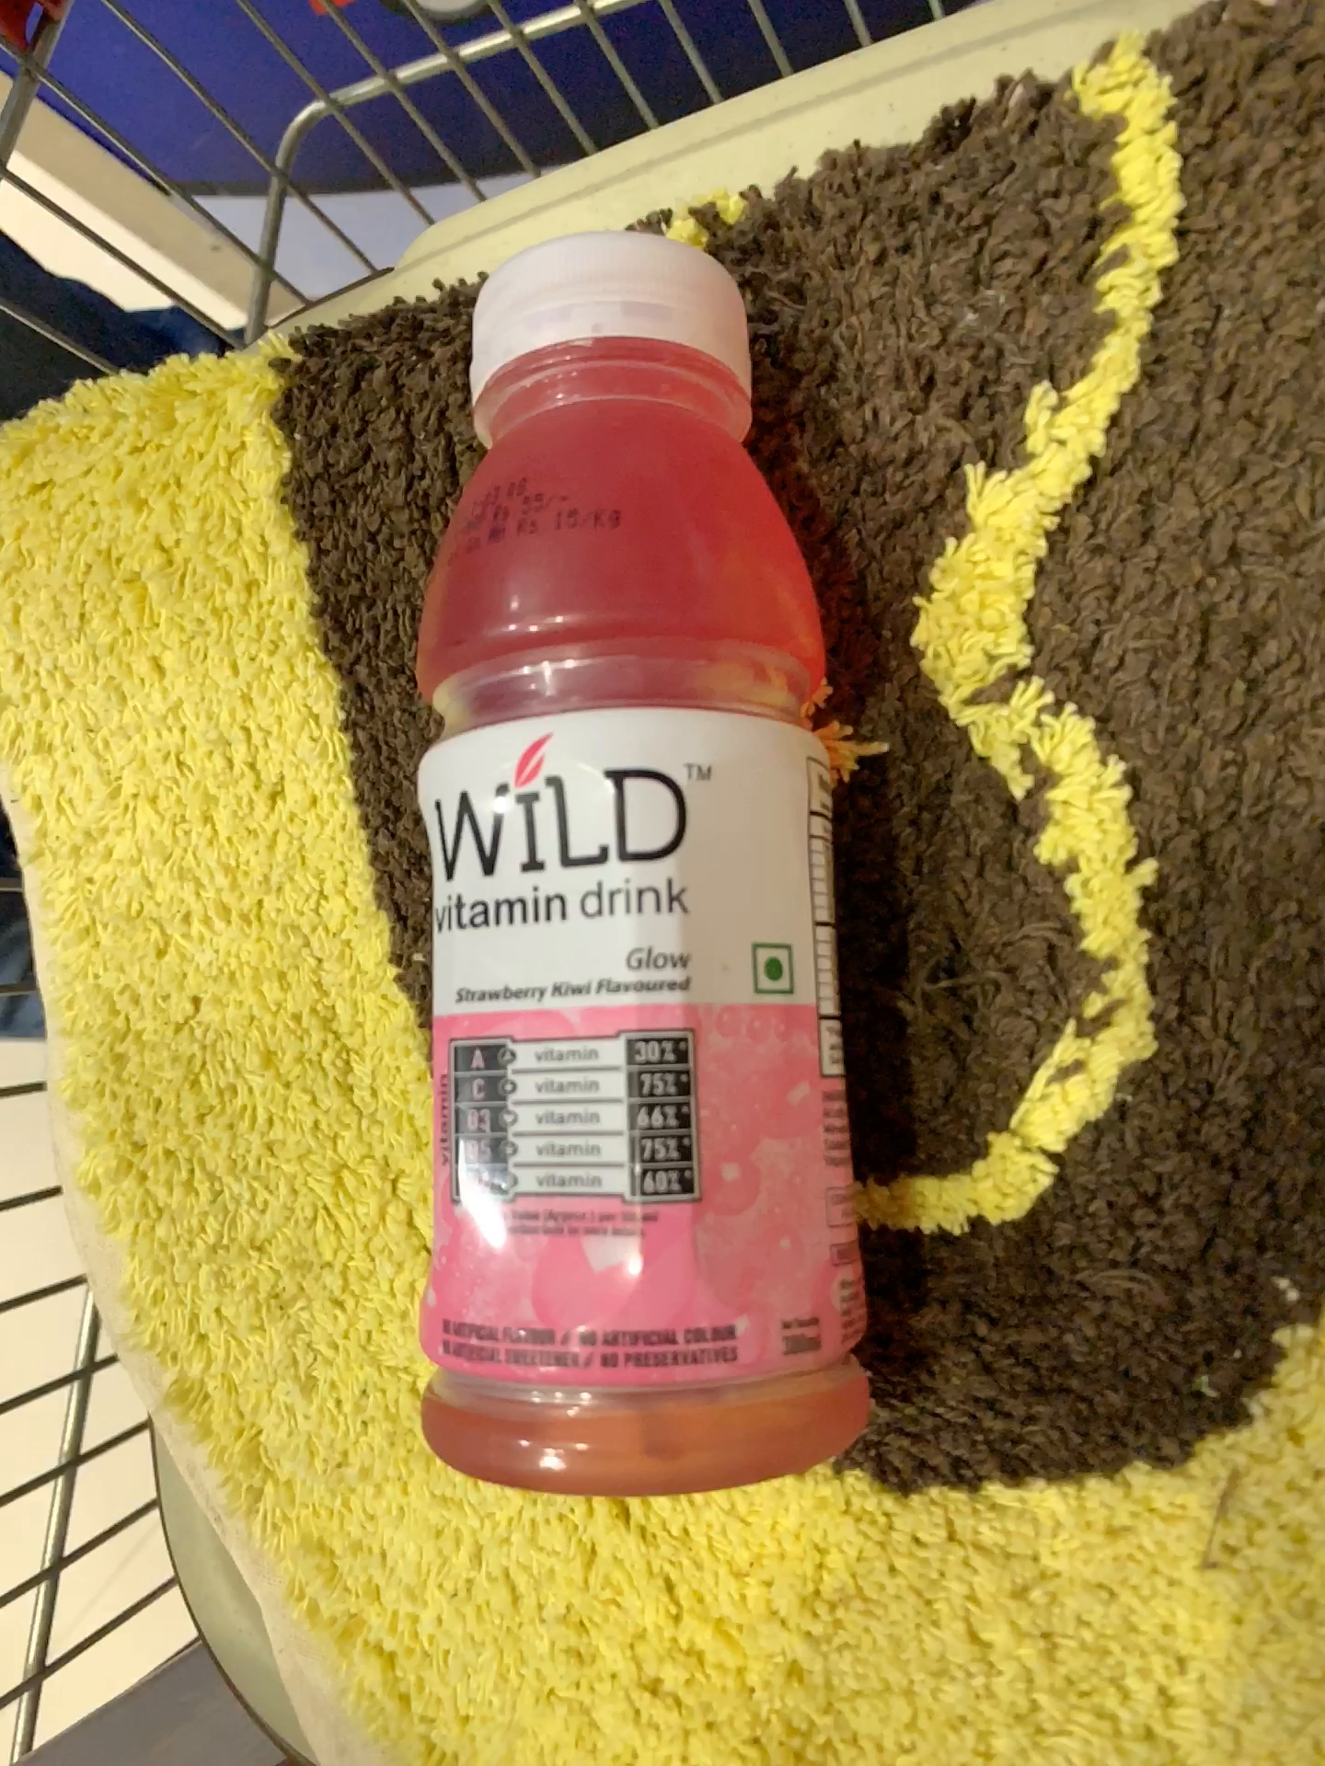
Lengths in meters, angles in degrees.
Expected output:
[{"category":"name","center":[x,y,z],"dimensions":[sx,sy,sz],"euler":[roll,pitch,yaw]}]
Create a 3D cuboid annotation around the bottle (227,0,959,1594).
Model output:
[{"category":"bottle","center":[-0.007,-0.008,0.171],"dimensions":[0.060,0.050,0.160],"euler":[-6,88,26]}]
